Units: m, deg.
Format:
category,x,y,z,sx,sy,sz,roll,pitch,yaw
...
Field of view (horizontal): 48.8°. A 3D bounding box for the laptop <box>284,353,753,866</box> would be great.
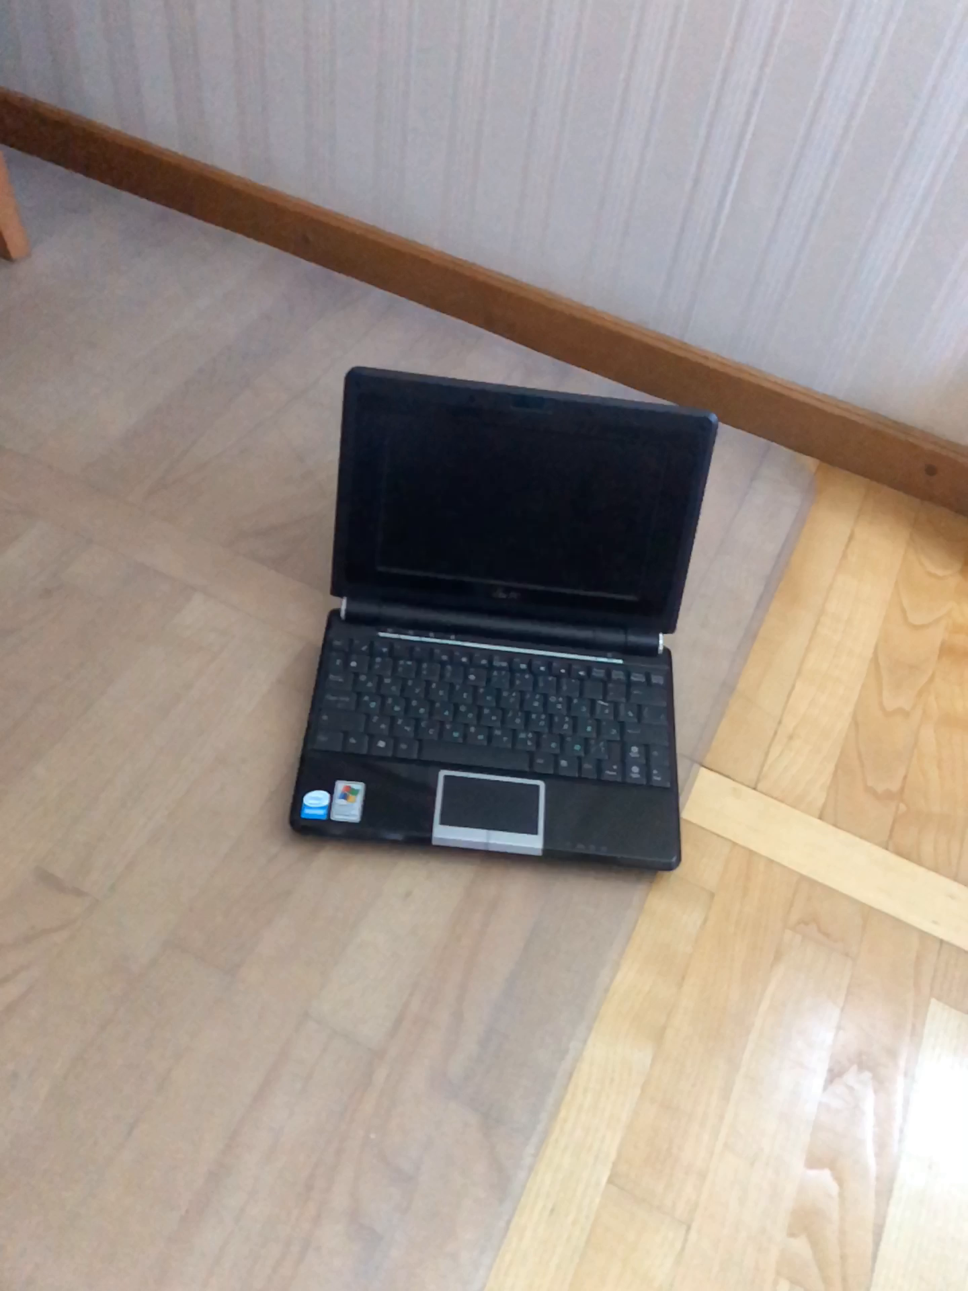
category,x,y,z,sx,sy,sz,roll,pitch,yaw
laptop,0.019,-0.028,0.736,0.263,0.159,0.278,7,53,-4
